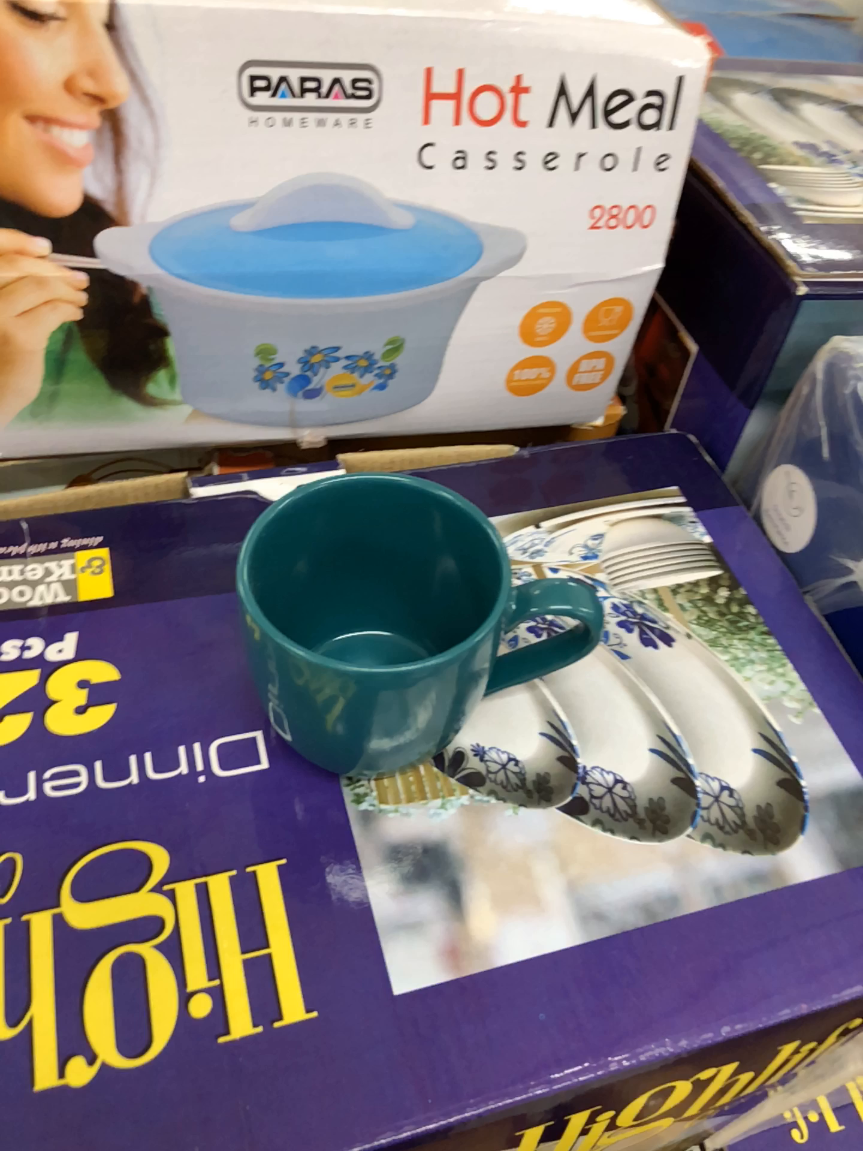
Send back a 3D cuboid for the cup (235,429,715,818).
[{"bbox_3d":[0.005,0.009,0.225,0.090,0.050,0.060,-8,50,-17],"label":"cup"}]
